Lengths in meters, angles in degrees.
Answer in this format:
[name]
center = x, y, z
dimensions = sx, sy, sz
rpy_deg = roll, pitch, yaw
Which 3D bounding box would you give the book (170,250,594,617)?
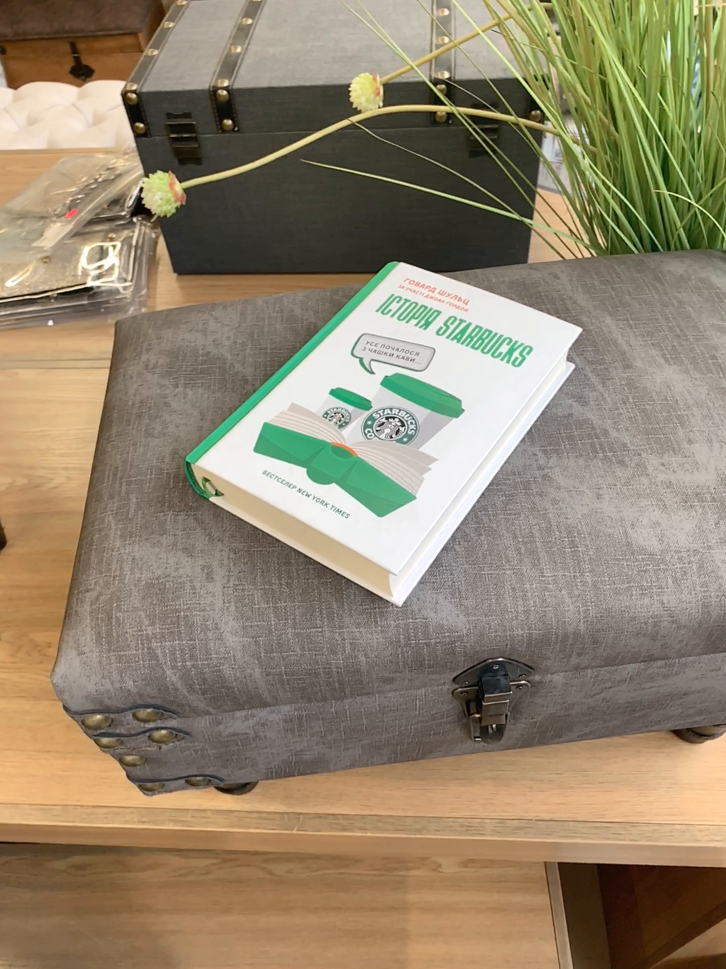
[book]
center = 0.021, -0.051, 0.478
dimensions = 0.160, 0.040, 0.235
rpy_deg = 26, 57, 23
